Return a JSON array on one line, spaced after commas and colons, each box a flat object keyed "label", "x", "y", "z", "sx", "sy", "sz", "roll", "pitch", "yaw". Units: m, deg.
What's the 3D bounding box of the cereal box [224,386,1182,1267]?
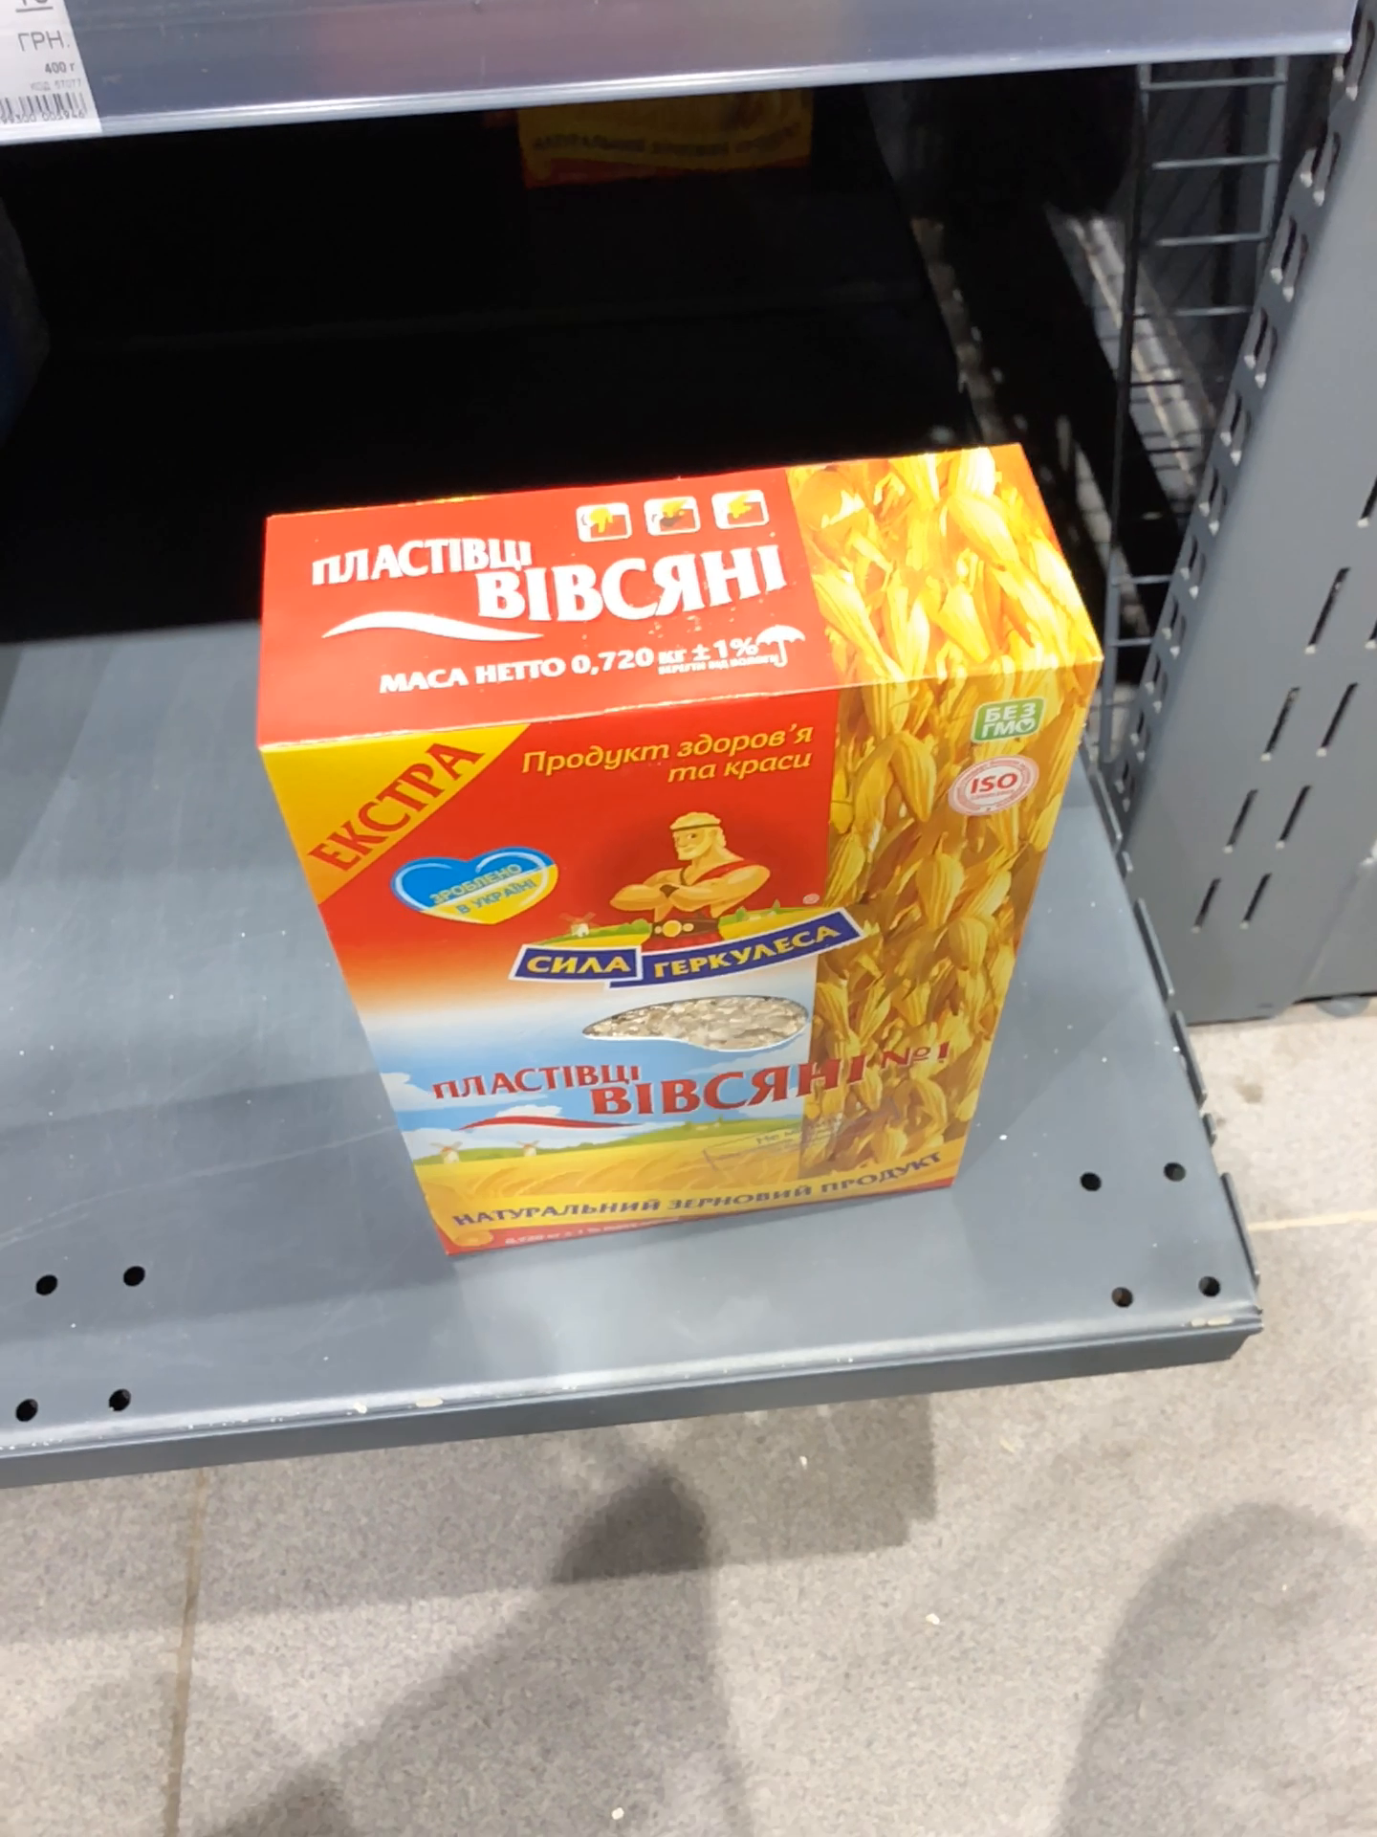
[{"label": "cereal box", "x": 0.001, "y": -0.005, "z": 0.357, "sx": 0.160, "sy": 0.209, "sz": 0.070, "roll": -7, "pitch": 54, "yaw": -4}]
